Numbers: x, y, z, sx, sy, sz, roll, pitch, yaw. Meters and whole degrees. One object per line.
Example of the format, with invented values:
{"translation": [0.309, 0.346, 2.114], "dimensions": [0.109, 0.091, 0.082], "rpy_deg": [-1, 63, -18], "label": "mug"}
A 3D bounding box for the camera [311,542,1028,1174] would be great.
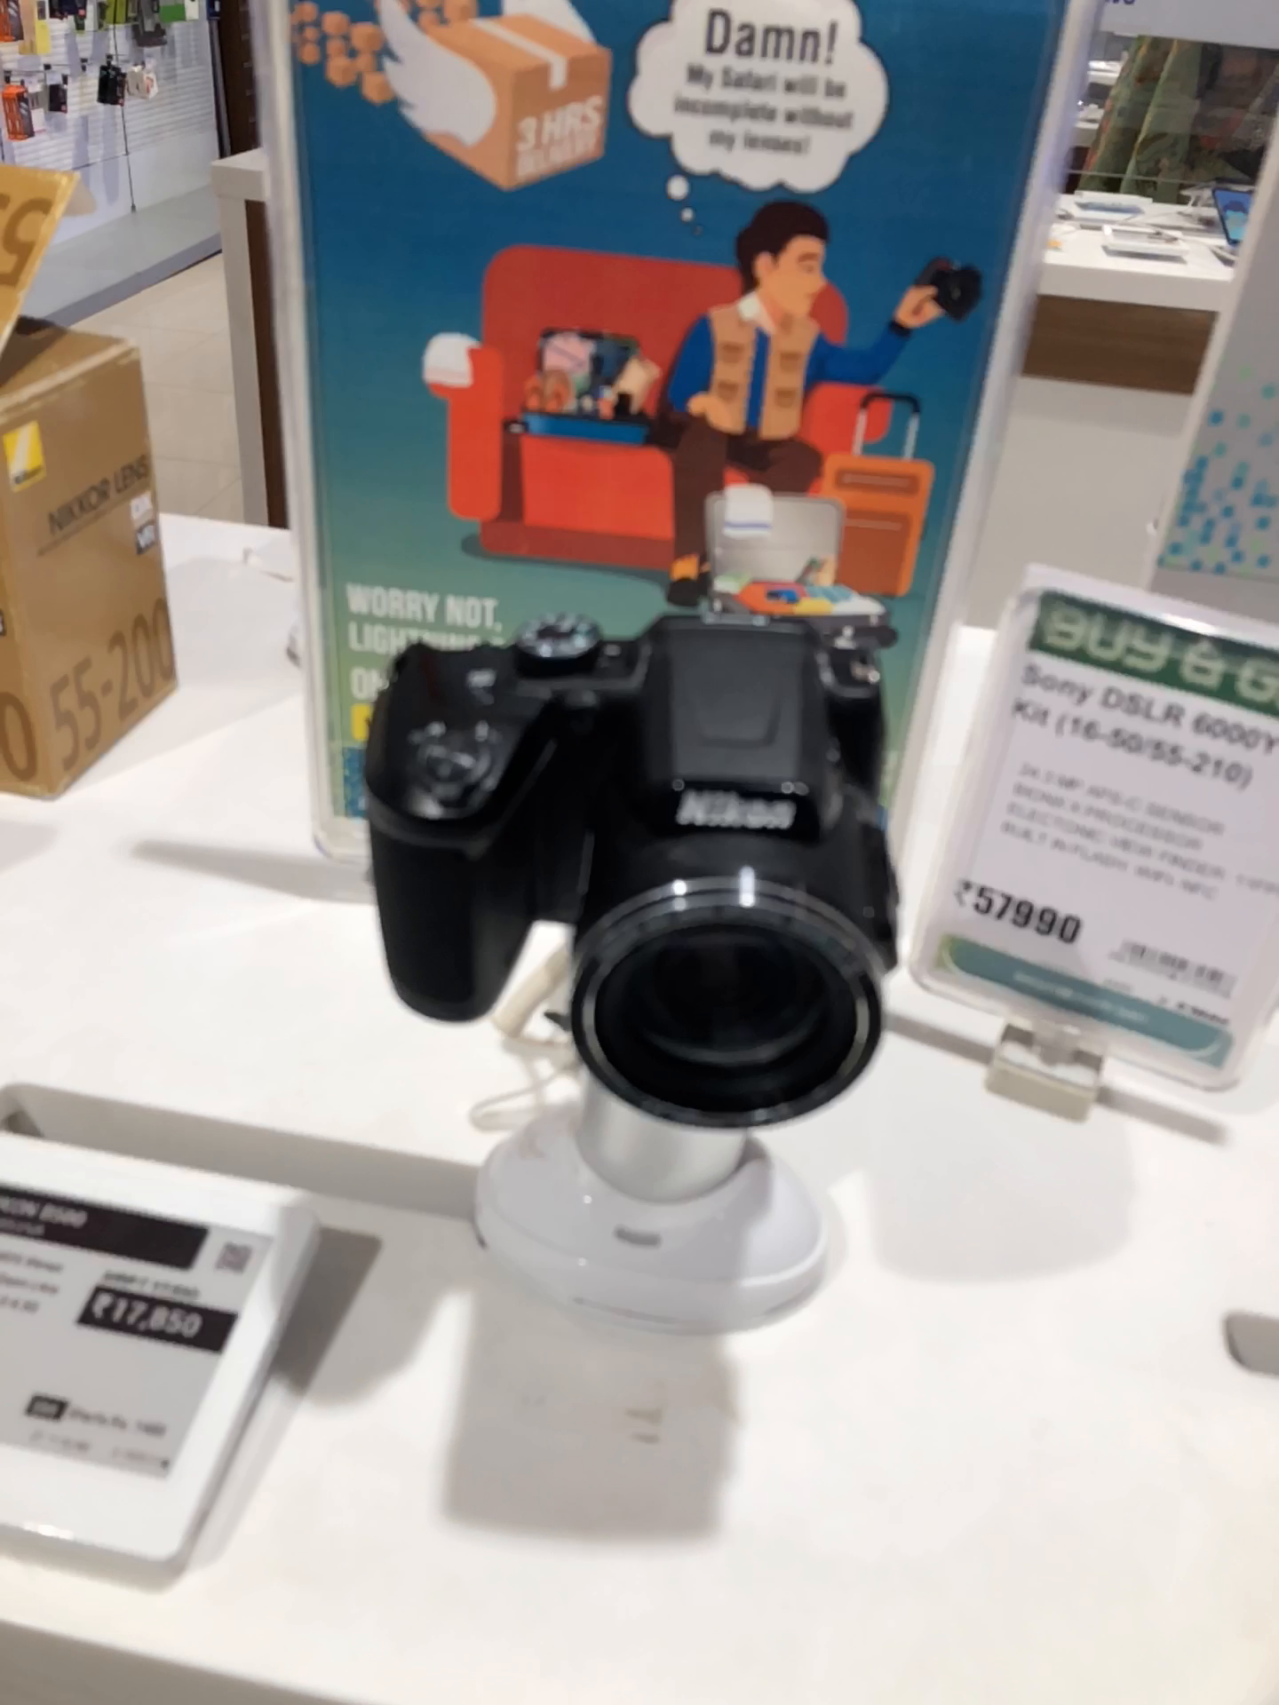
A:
{"translation": [0.003, -0.005, 0.278], "dimensions": [0.110, 0.070, 0.111], "rpy_deg": [4, 34, -2], "label": "camera"}
